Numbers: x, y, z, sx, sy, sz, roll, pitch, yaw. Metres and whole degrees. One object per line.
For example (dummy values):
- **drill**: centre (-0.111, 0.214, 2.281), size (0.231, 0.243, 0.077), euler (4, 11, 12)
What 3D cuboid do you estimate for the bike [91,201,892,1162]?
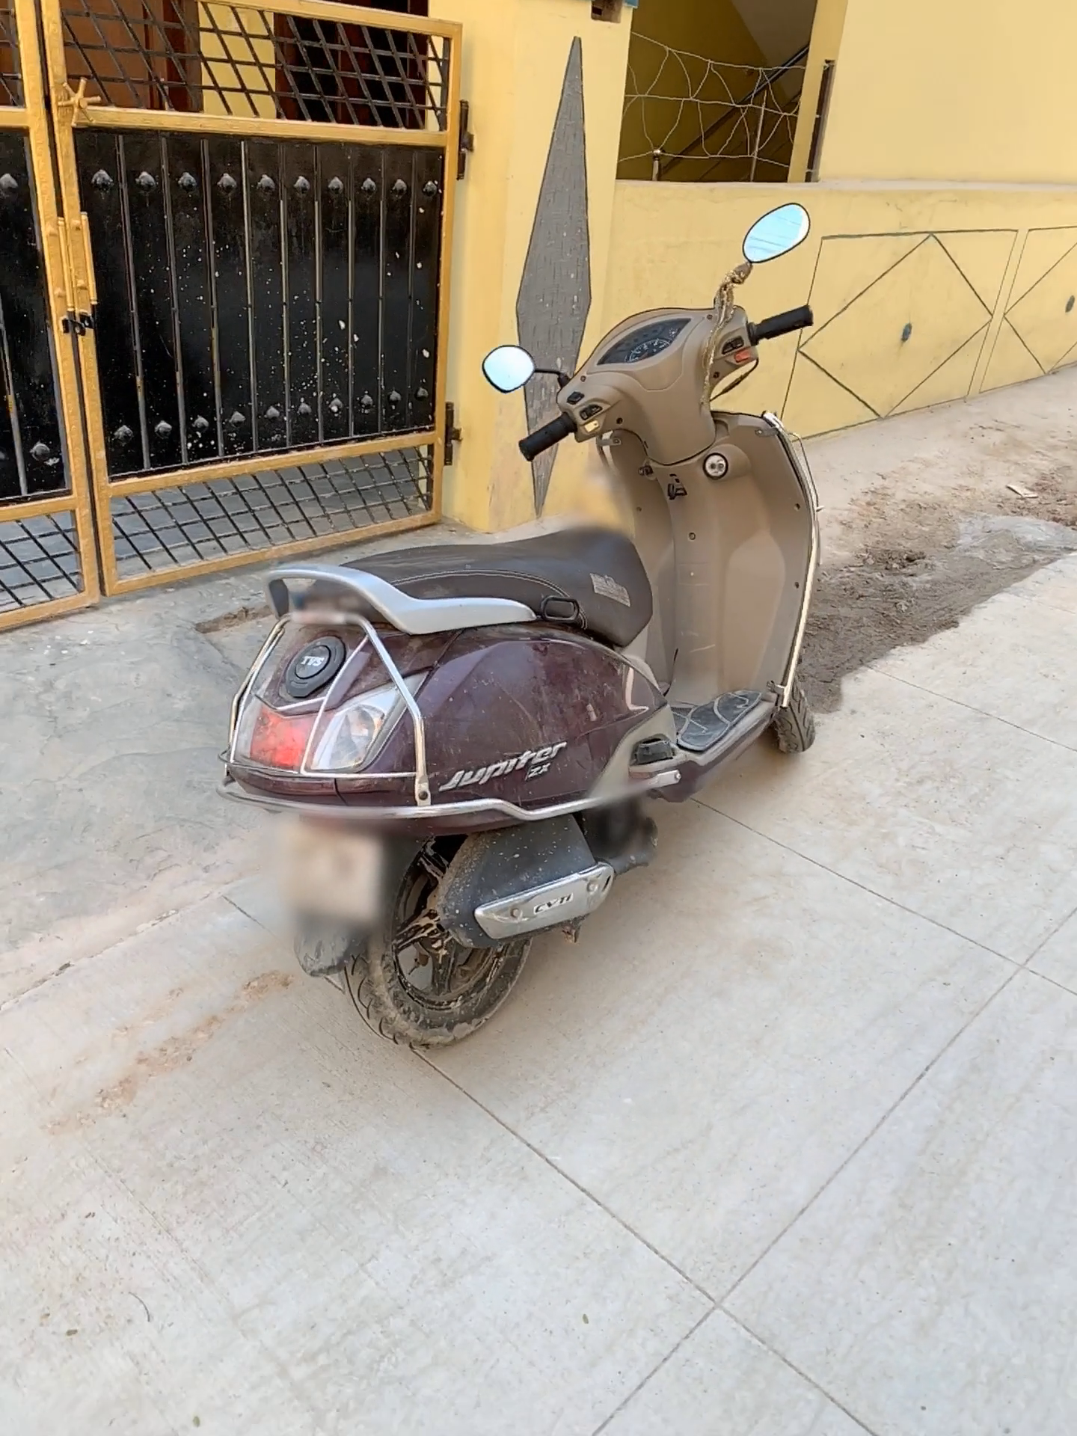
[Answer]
- **bike**: centre (0.025, -0.249, 2.156), size (0.614, 1.158, 1.530), euler (20, 36, 26)
